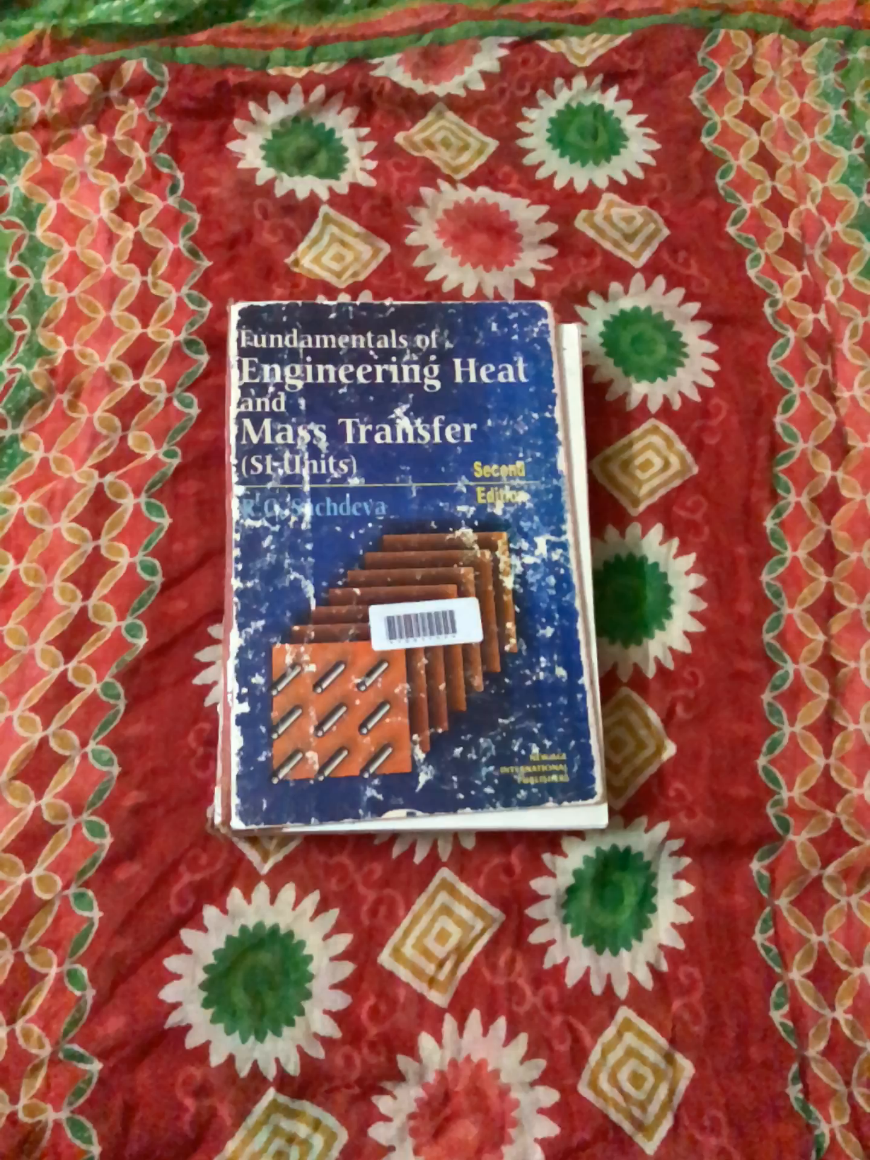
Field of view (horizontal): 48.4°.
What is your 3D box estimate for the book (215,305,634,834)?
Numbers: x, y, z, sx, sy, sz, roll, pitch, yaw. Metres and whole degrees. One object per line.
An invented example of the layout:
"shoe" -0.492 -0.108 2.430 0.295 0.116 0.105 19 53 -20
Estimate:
"book" -0.005 -0.005 0.393 0.150 0.043 0.209 0 75 -4
